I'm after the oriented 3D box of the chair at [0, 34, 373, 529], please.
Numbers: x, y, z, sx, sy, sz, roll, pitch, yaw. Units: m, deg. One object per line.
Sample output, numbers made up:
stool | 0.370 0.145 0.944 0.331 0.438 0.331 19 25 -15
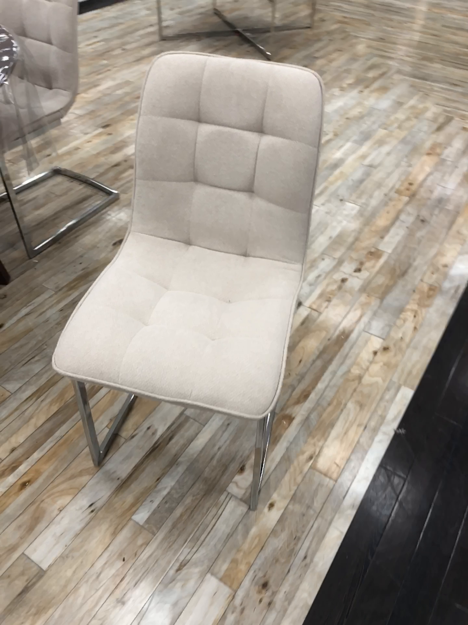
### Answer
chair | -0.053 -0.054 1.149 0.490 0.837 0.592 12 44 11
